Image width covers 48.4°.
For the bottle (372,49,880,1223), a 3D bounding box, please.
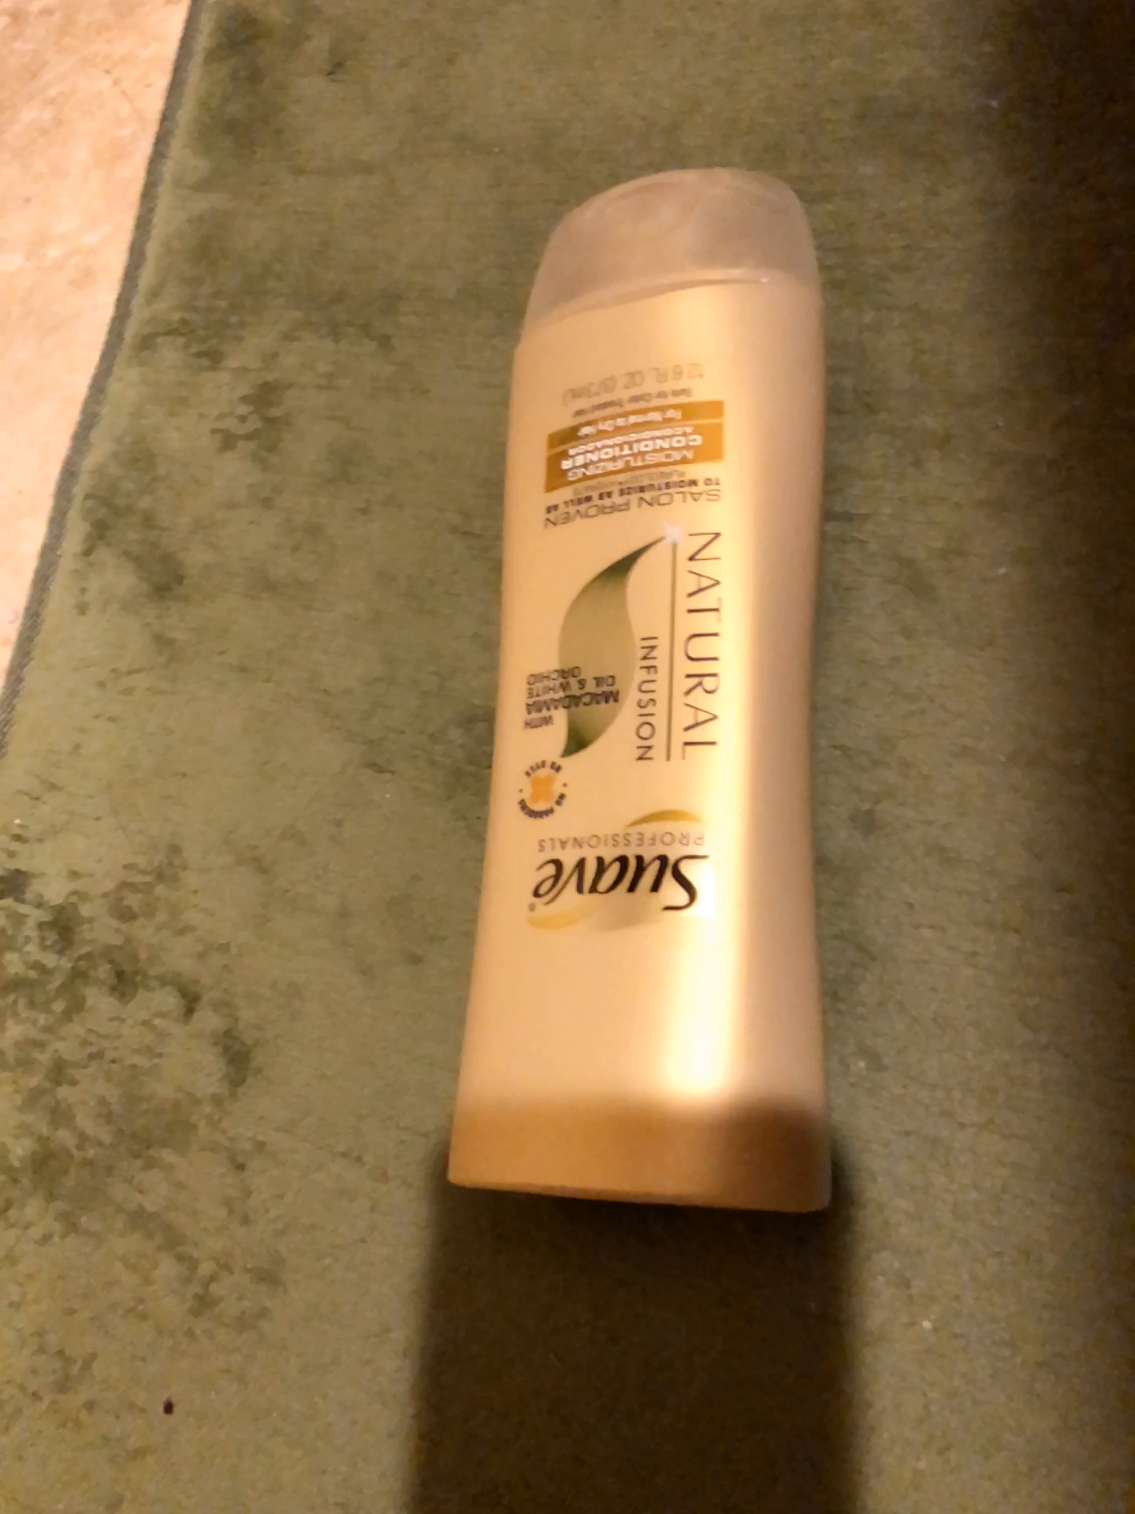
[{"bbox_3d":[0.017,-0.025,0.260,0.080,0.050,0.220,-4,73,24],"label":"bottle"}]
